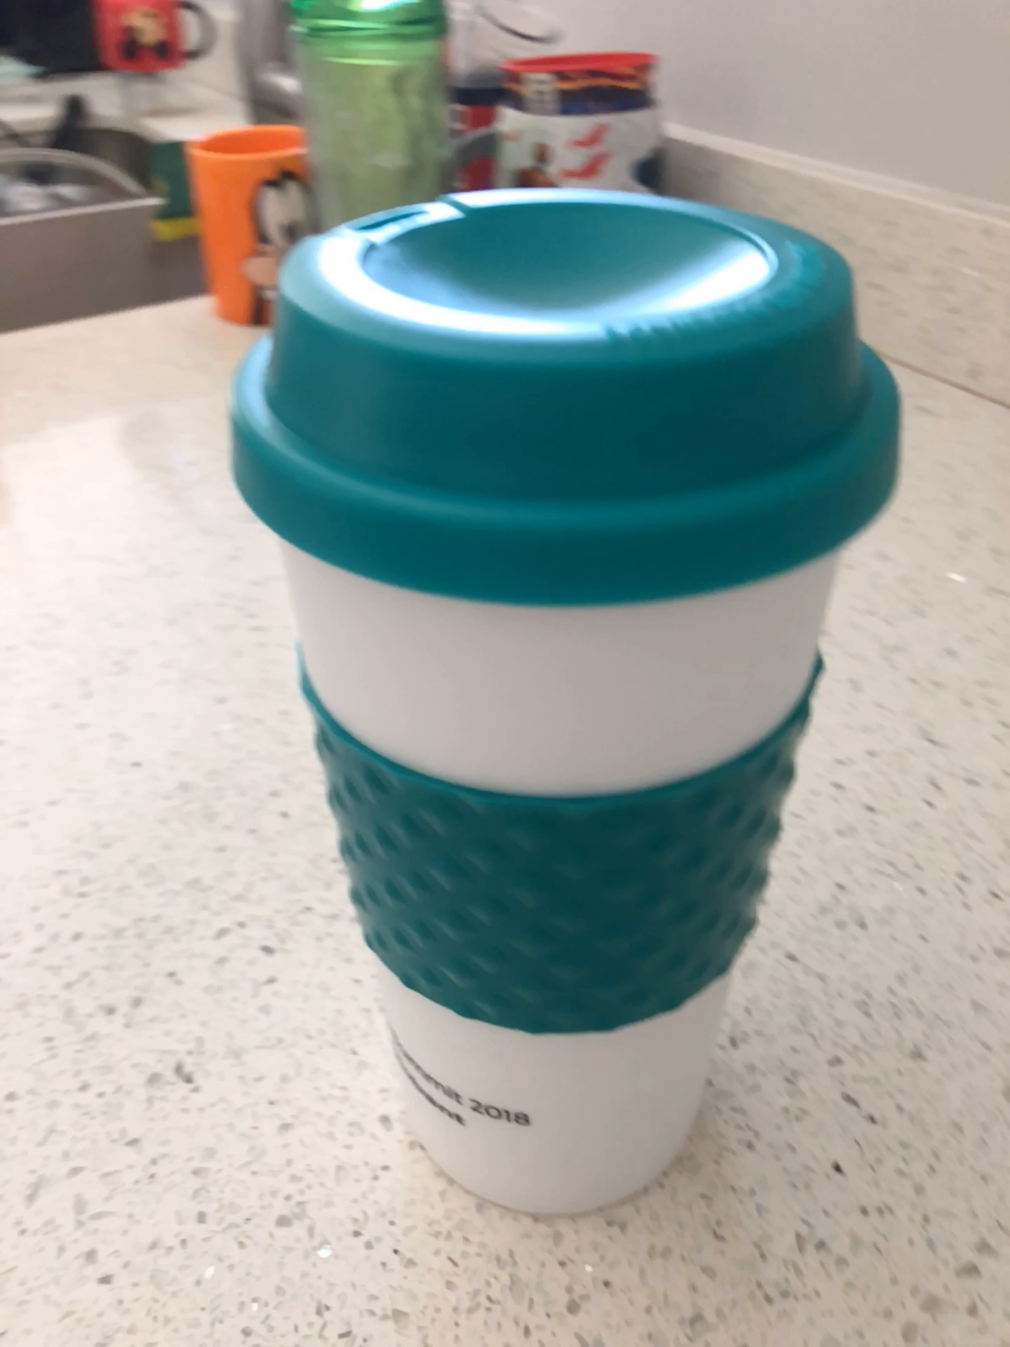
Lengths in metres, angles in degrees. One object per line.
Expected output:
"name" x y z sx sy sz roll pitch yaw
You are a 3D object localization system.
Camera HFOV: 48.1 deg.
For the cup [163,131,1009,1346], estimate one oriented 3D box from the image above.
"cup" 0.013 0.010 0.199 0.100 0.169 0.100 -1 35 1
